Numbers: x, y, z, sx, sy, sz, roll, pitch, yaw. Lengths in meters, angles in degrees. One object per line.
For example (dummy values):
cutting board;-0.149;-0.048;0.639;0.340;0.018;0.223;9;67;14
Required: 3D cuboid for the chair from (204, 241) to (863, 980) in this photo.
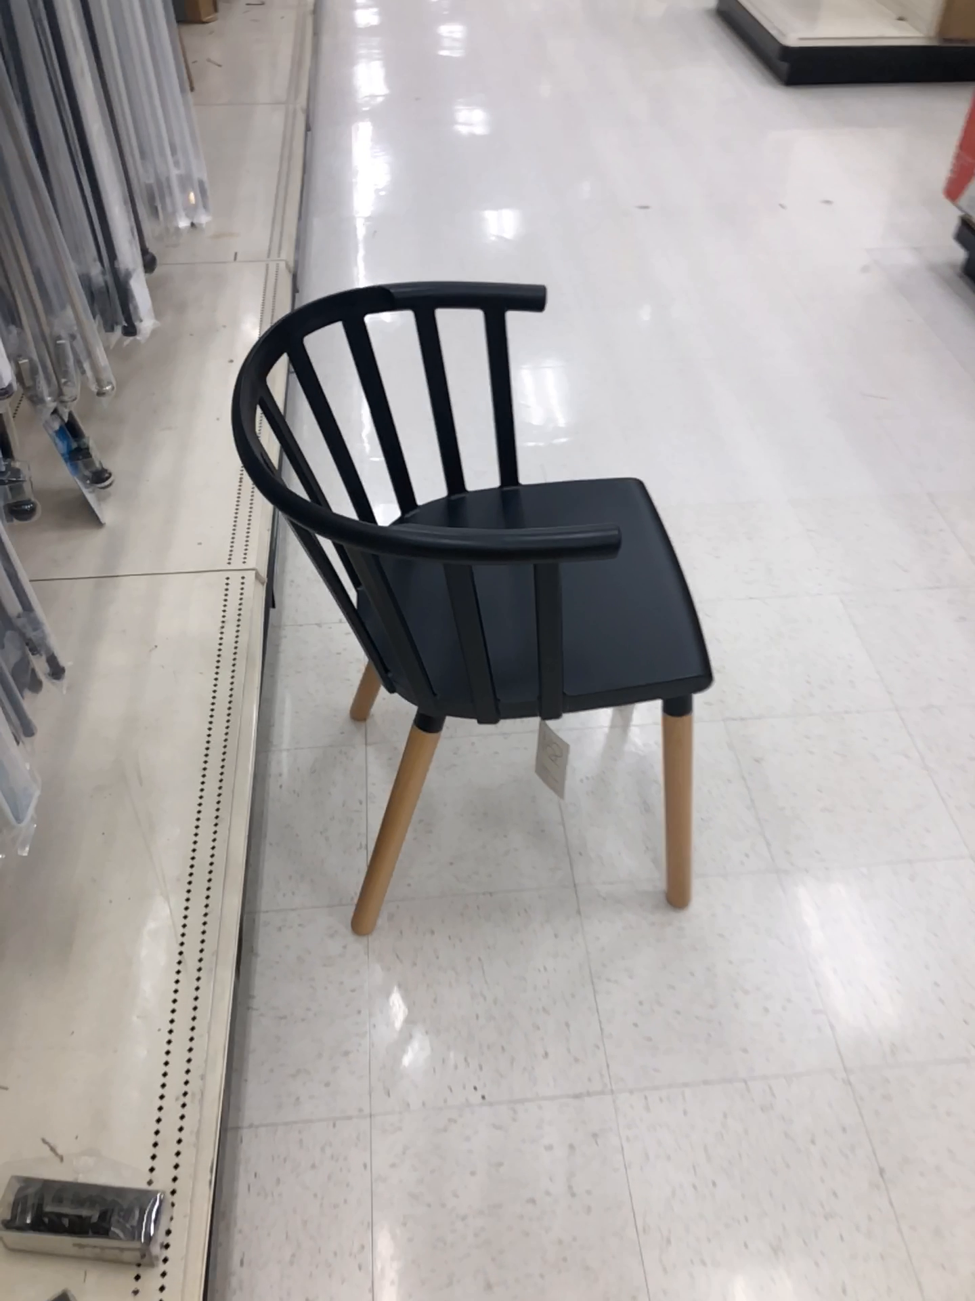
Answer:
chair;0.019;-0.038;1.362;0.567;0.731;0.536;-3;44;-4
